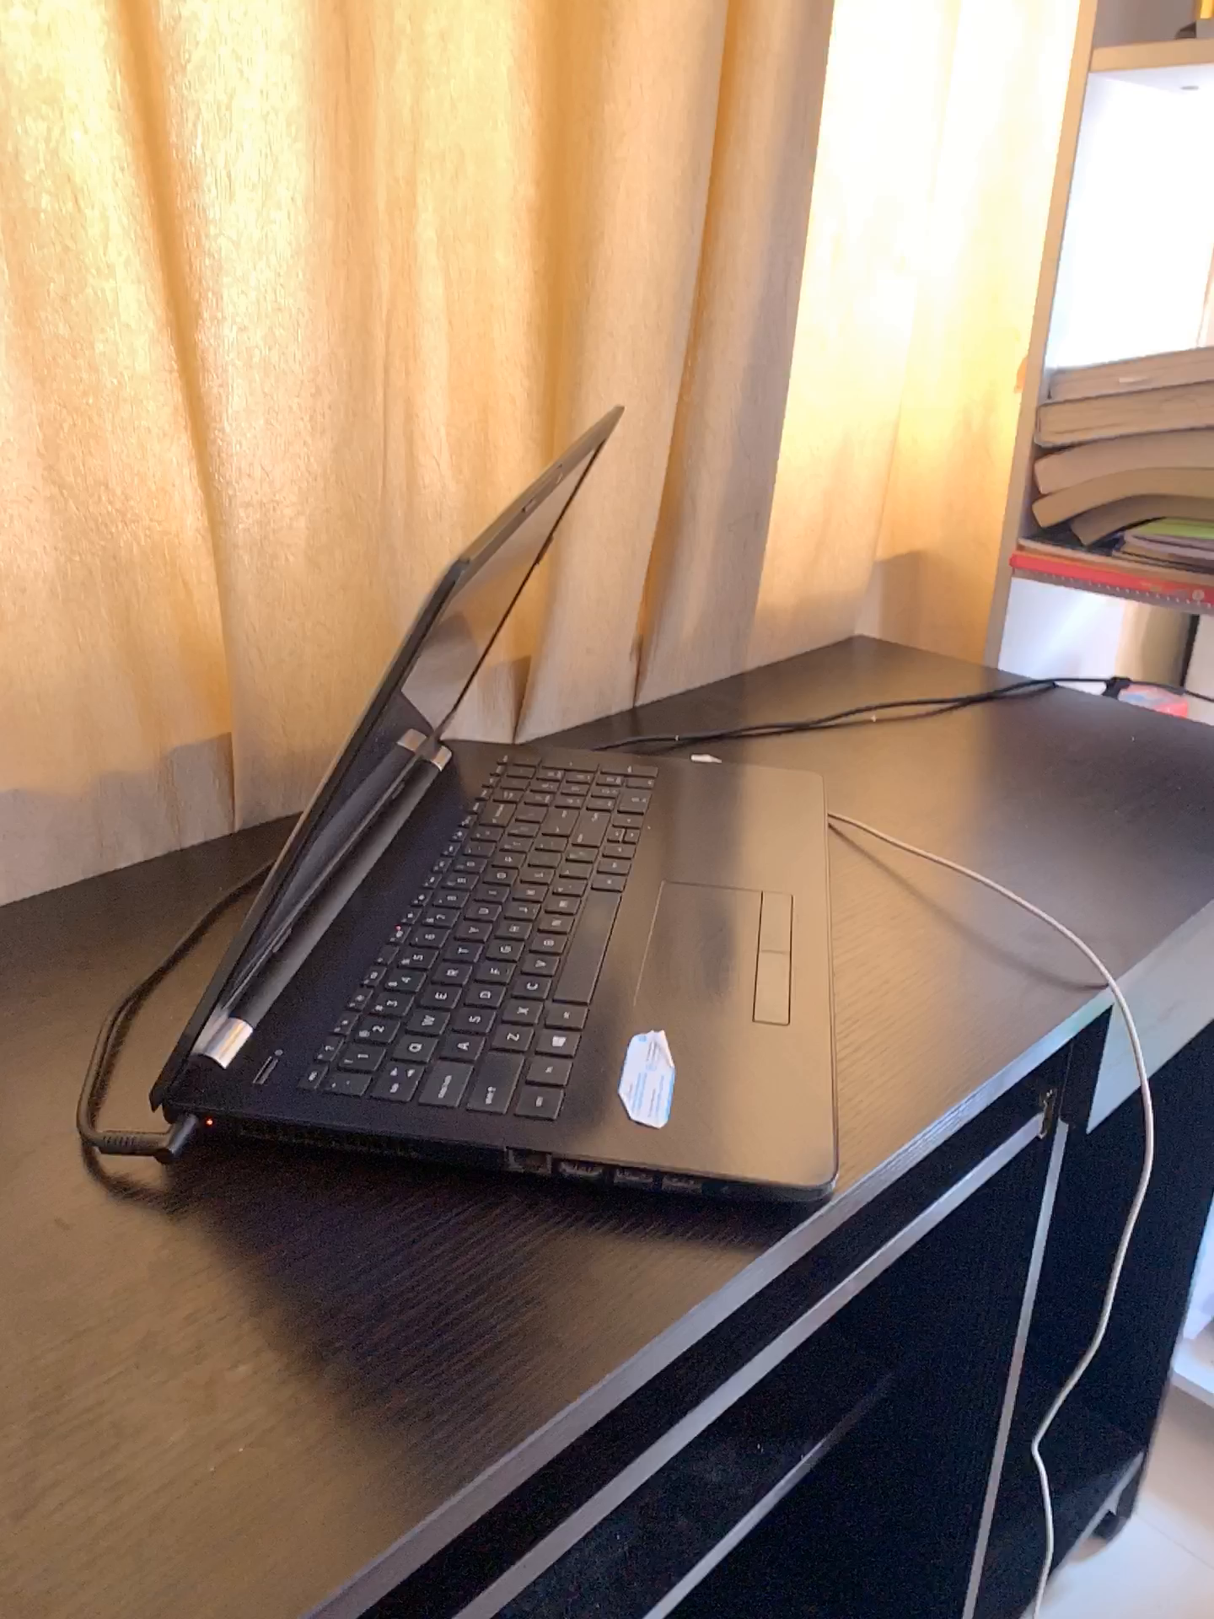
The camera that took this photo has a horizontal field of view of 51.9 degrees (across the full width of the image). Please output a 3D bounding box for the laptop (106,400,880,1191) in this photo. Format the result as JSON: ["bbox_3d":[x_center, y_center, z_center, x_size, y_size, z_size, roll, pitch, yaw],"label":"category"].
[{"bbox_3d":[-0.009,-0.050,0.575,0.237,0.201,0.365,6,26,8],"label":"laptop"}]
